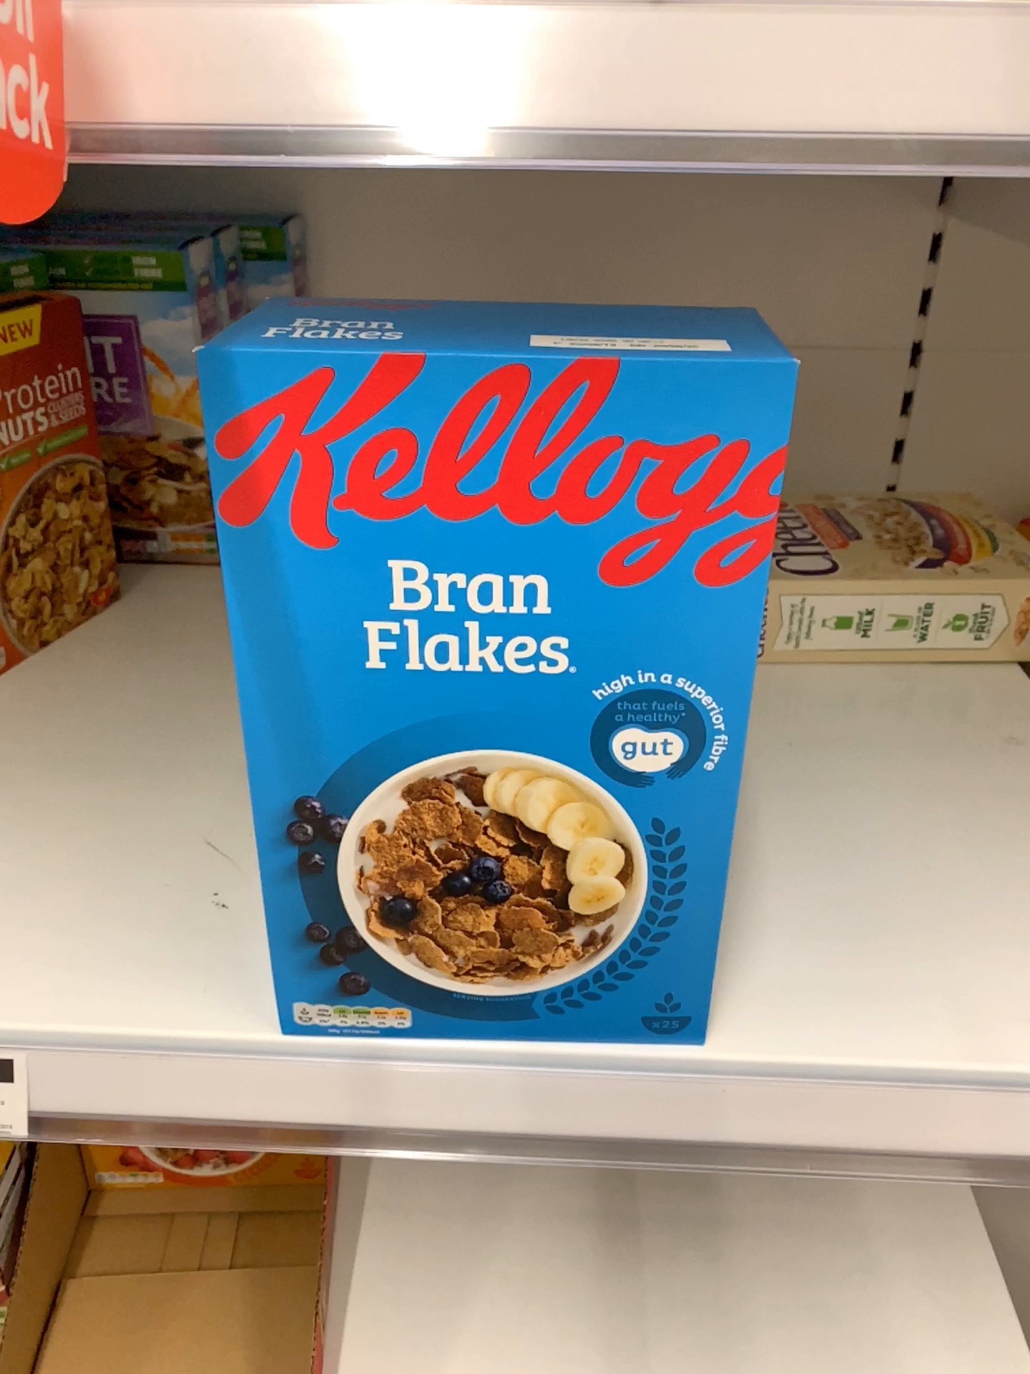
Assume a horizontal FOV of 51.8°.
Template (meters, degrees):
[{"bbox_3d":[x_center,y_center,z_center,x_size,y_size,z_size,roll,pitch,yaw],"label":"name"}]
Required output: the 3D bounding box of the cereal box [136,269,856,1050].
[{"bbox_3d":[-0.006,0.001,0.422,0.210,0.297,0.091,1,29,1],"label":"cereal box"}]
